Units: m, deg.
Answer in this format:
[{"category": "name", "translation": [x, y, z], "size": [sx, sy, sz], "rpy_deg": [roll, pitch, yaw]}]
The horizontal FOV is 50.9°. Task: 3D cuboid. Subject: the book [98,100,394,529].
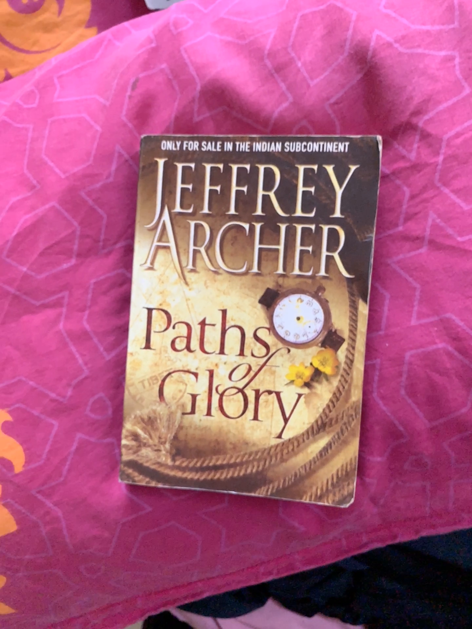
[{"category": "book", "translation": [0.004, -0.004, 0.239], "size": [0.120, 0.040, 0.180], "rpy_deg": [4, 92, 11]}]
